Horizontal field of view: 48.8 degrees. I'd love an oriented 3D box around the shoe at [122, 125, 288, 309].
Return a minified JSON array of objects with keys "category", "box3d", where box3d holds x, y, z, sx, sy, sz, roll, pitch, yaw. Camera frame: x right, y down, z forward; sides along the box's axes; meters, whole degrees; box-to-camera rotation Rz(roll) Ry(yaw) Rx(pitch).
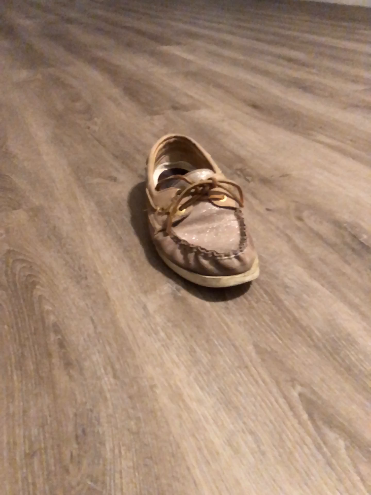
[{"category":"shoe","box3d":[0.000,-0.053,0.428,0.100,0.070,0.251,-7,34,-12]}]
